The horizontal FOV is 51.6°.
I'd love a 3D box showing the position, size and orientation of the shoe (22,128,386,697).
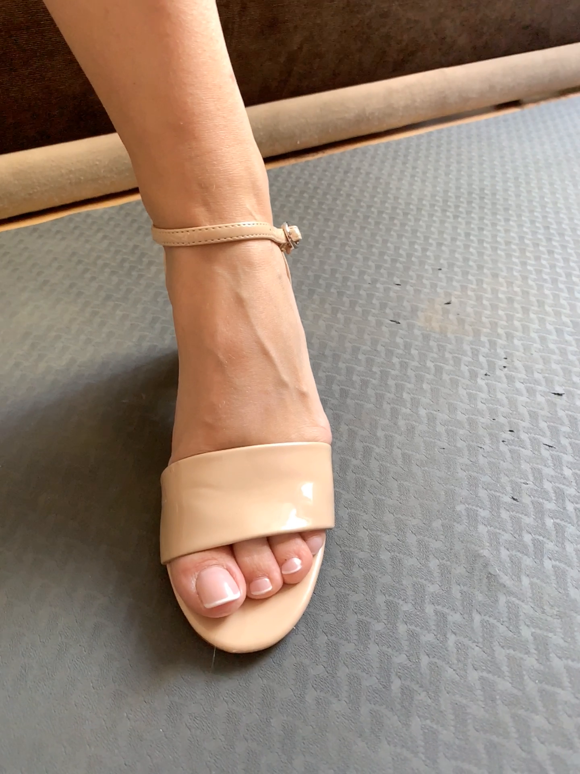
[{"bbox_3d":[-0.038,-0.017,0.282,0.090,0.119,0.251,-6,41,-6],"label":"shoe"}]
